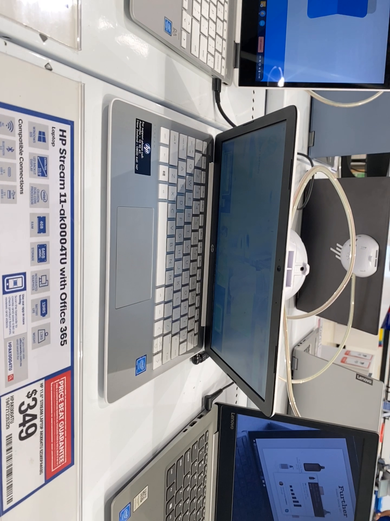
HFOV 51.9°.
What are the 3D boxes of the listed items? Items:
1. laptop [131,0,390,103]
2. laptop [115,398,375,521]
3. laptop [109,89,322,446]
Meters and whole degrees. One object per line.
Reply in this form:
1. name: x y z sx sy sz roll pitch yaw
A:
1. laptop: 0.102 -0.343 0.419 0.299 0.189 0.257 -12 106 -60
2. laptop: 0.078 0.403 0.498 0.277 0.212 0.326 -13 107 -59
3. laptop: 0.029 -0.004 0.419 0.182 0.138 0.276 -9 103 -59
